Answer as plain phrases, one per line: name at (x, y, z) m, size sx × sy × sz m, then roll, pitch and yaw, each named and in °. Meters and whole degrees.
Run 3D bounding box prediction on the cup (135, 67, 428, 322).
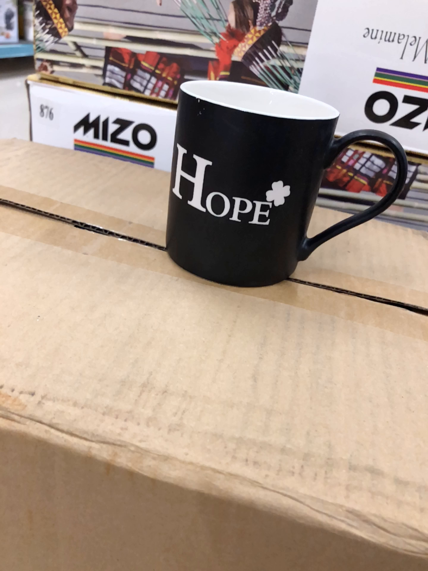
cup at (0.032, -0.055, 0.259) m, size 0.120 × 0.089 × 0.091 m, roll 12°, pitch 30°, yaw 4°
